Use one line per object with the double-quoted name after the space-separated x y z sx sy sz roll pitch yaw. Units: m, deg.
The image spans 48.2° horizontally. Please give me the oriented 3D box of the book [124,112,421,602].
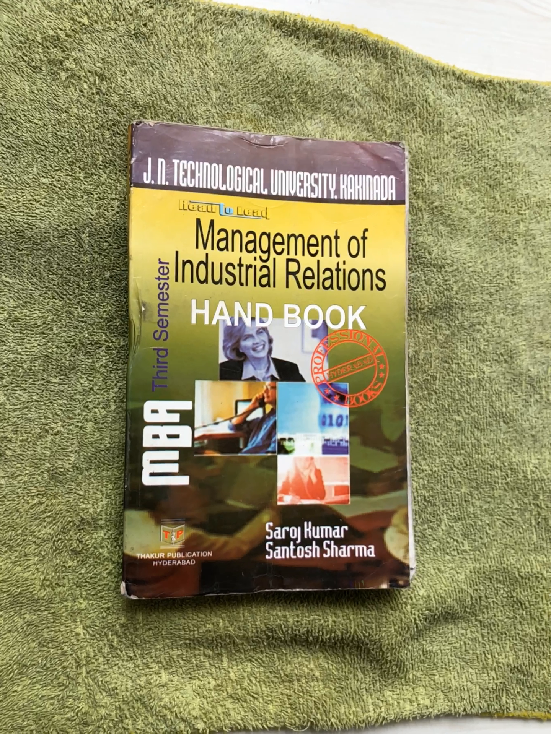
-0.003 -0.004 0.316 0.140 0.050 0.220 1 85 -14 "book"
